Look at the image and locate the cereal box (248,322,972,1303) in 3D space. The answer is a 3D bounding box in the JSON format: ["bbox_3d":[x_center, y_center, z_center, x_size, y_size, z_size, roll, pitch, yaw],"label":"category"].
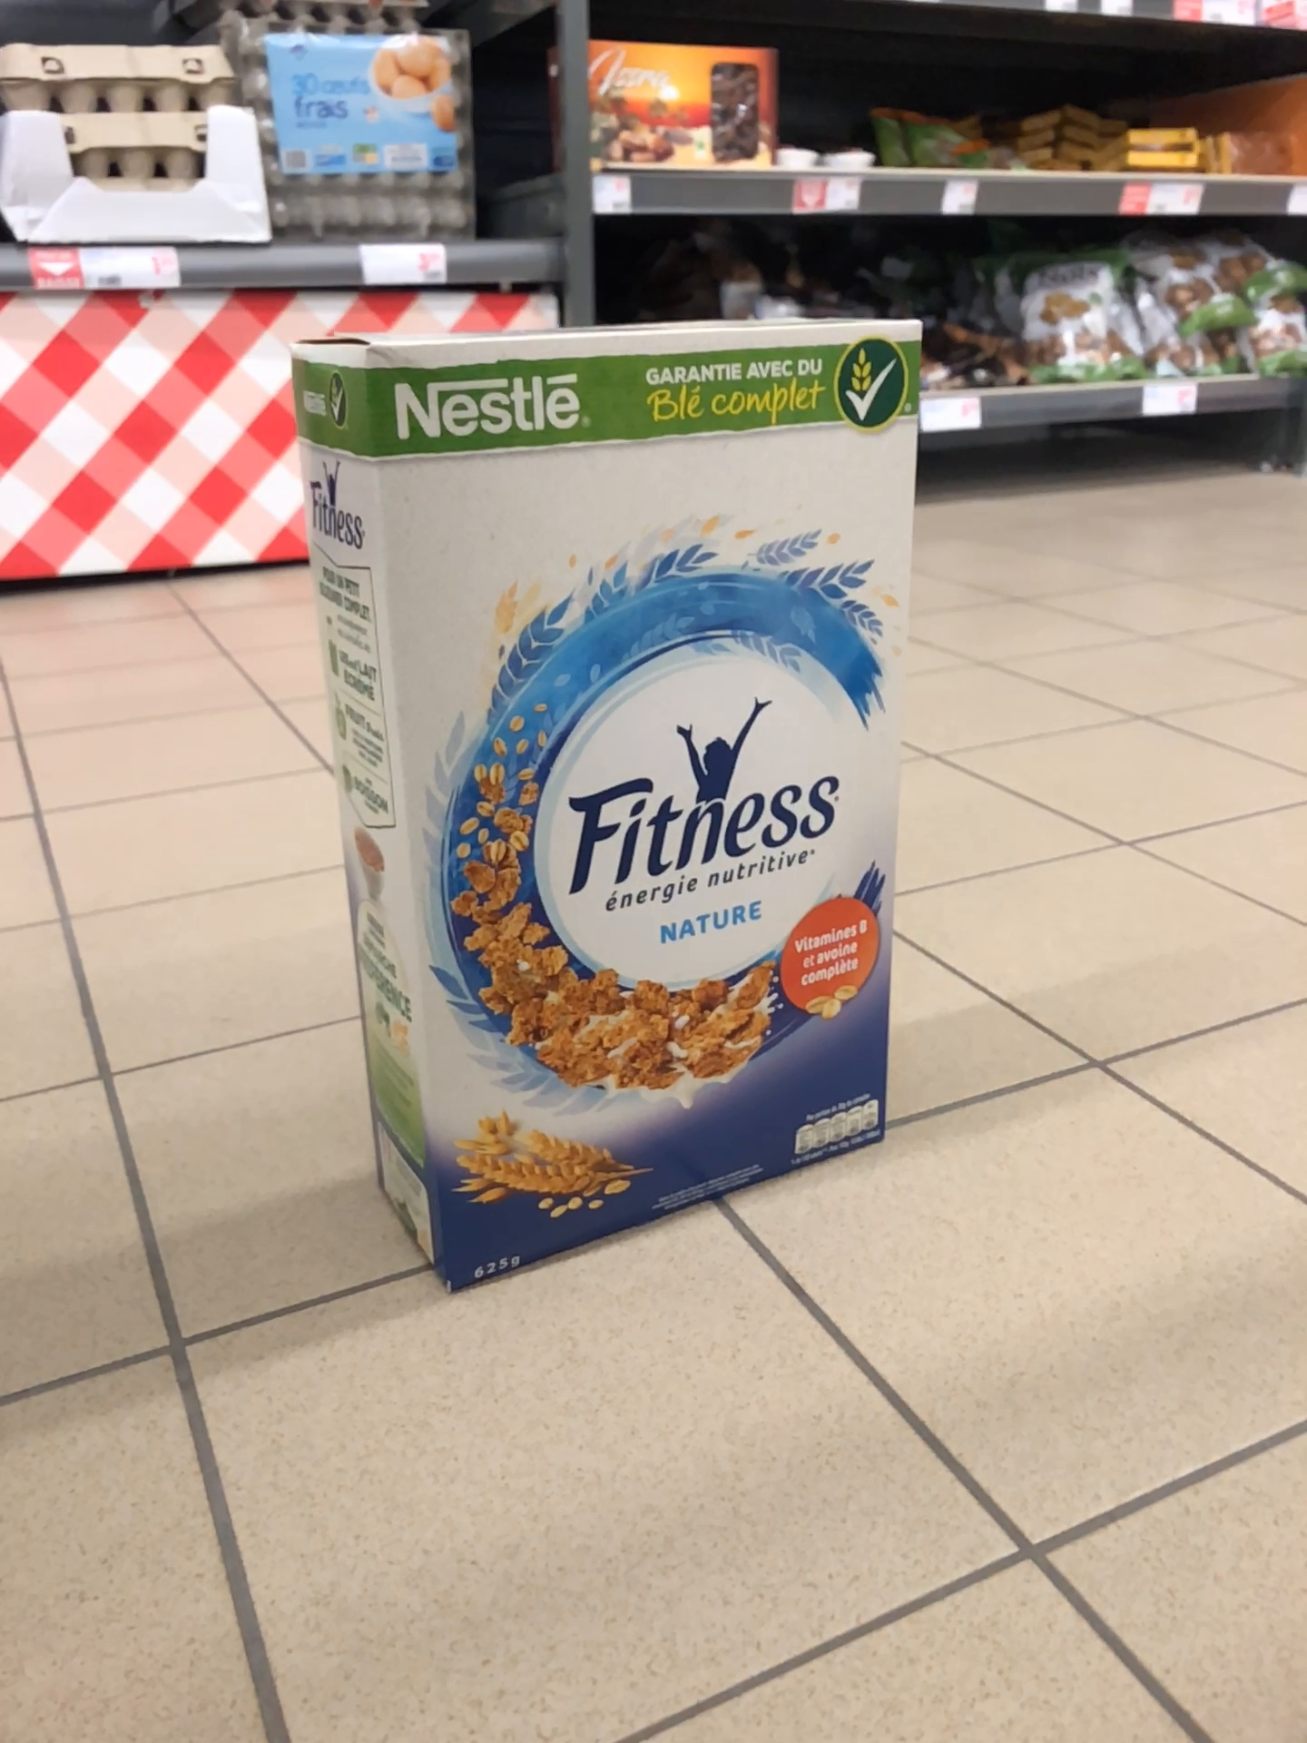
[{"bbox_3d":[-0.008,-0.031,0.508,0.211,0.299,0.090,-12,24,-26],"label":"cereal box"}]
